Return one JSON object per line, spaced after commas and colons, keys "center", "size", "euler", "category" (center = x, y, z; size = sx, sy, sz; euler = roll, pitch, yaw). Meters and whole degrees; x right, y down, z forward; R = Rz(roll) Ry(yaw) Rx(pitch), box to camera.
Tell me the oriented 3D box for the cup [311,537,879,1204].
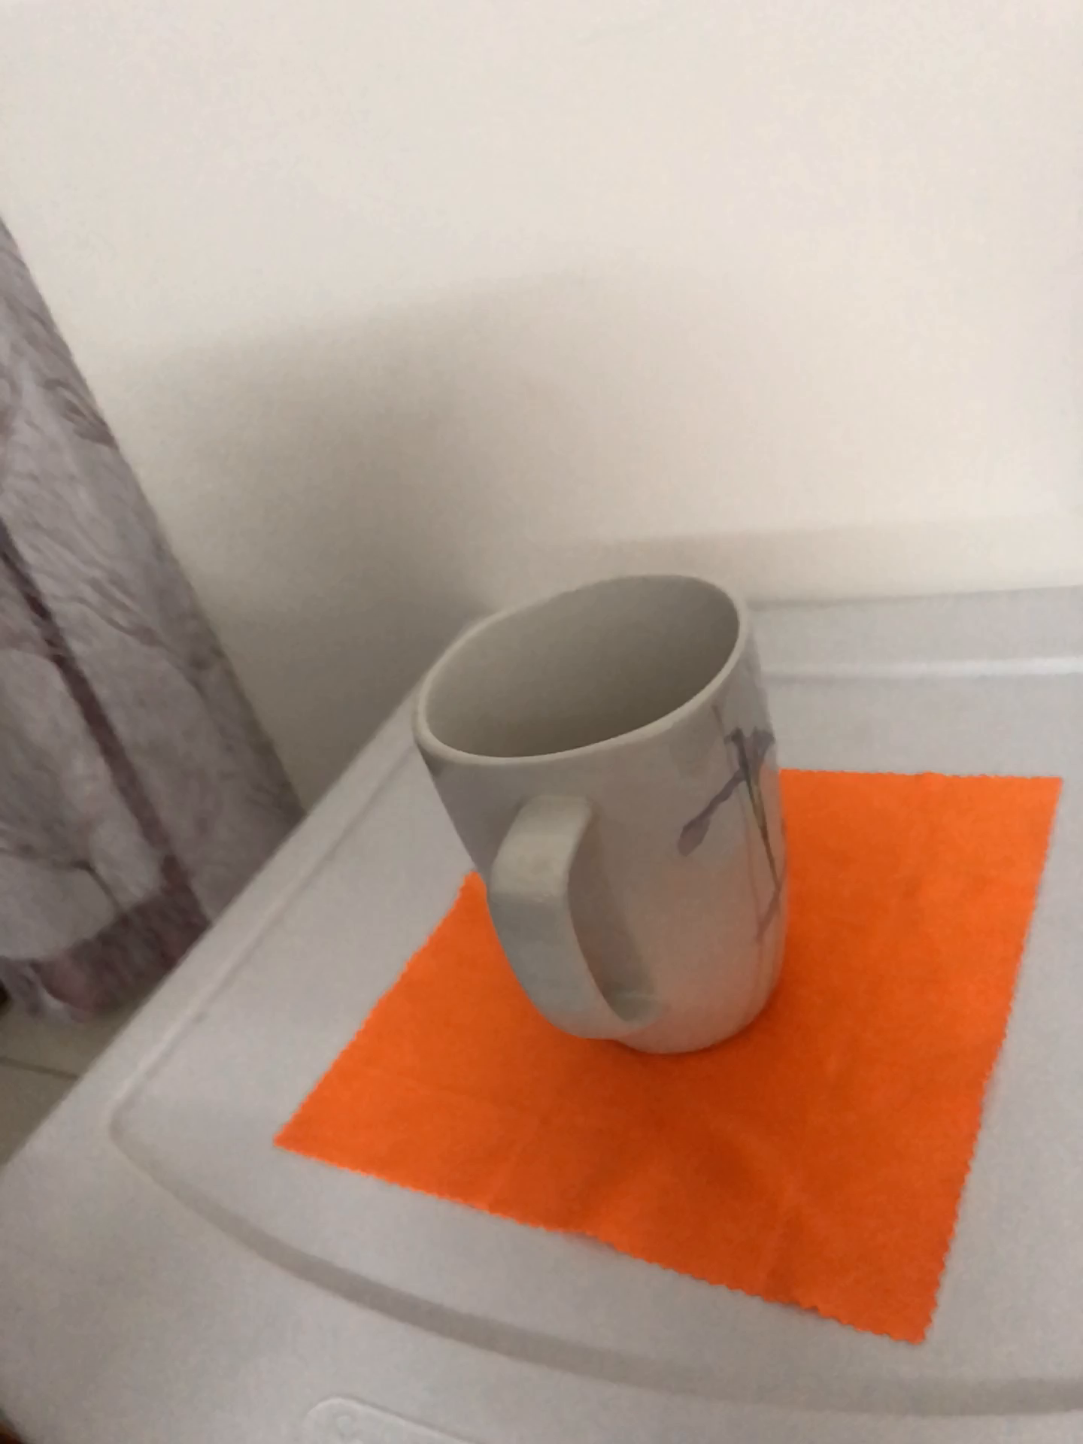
{"center": [0.026, 0.032, 0.302], "size": [0.090, 0.100, 0.120], "euler": [-4, 34, 24], "category": "cup"}
